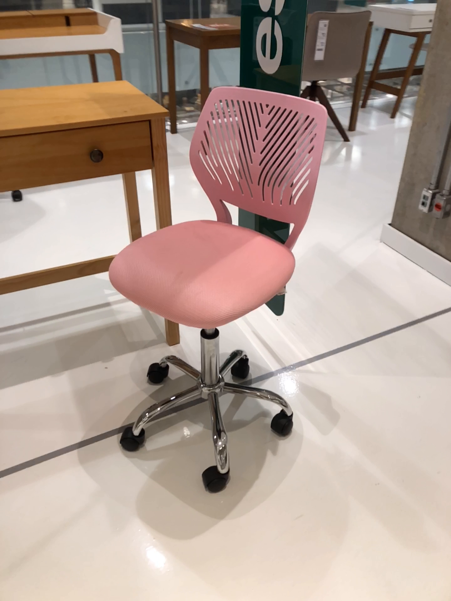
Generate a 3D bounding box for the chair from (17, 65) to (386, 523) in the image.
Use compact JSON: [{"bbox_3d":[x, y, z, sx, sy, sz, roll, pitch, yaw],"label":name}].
[{"bbox_3d":[-0.018,-0.042,1.176,0.501,0.833,0.523,18,38,24],"label":"chair"}]
